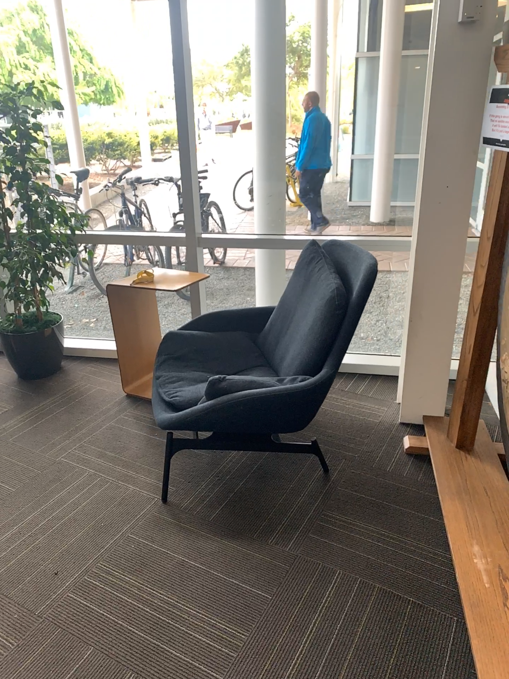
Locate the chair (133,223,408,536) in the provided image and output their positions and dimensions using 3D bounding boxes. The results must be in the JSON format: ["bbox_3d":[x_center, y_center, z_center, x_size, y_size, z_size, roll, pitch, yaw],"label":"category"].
[{"bbox_3d":[-0.003,0.088,2.333,0.940,0.995,0.905,-6,23,-10],"label":"chair"}]
